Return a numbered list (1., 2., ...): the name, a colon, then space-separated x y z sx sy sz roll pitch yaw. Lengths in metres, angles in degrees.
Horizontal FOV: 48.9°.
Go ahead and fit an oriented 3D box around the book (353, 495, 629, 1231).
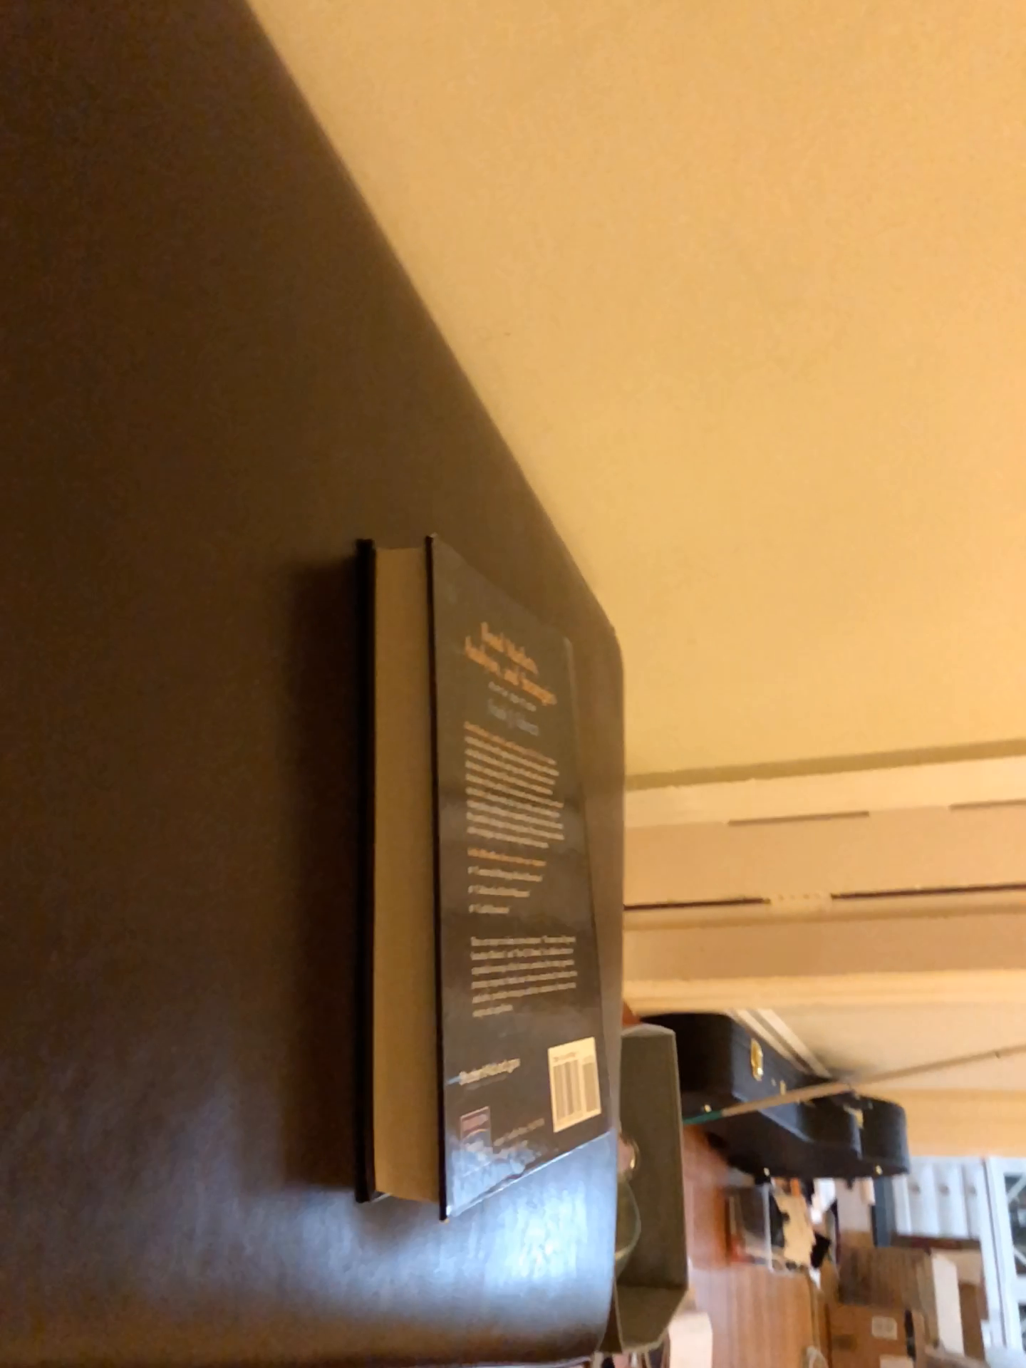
1. book: -0.003 0.076 0.500 0.201 0.040 0.260 29 56 -65
